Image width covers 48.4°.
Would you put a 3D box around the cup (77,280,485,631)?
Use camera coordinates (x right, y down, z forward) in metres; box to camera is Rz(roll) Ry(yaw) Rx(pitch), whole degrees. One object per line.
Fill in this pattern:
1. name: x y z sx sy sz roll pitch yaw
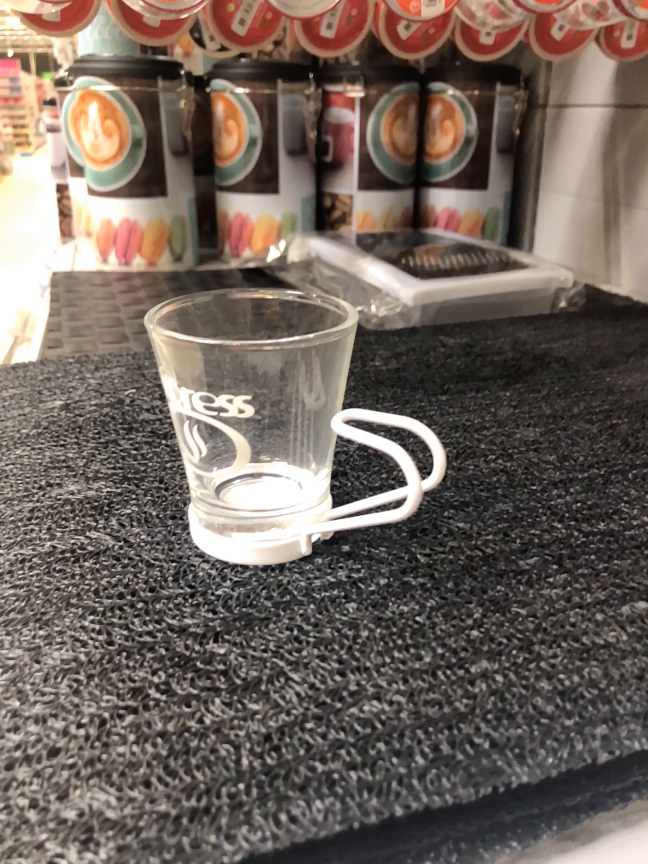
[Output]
1. cup: -0.010 -0.001 0.208 0.092 0.063 0.060 13 31 28
